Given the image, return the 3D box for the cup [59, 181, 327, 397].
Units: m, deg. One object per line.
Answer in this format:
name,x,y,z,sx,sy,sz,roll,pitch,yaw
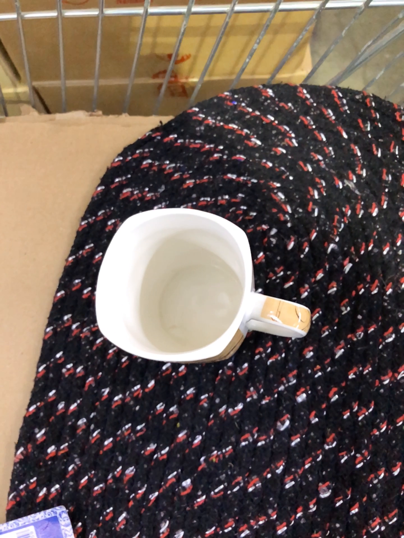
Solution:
cup,0.002,0.014,0.264,0.120,0.080,0.090,9,75,15
